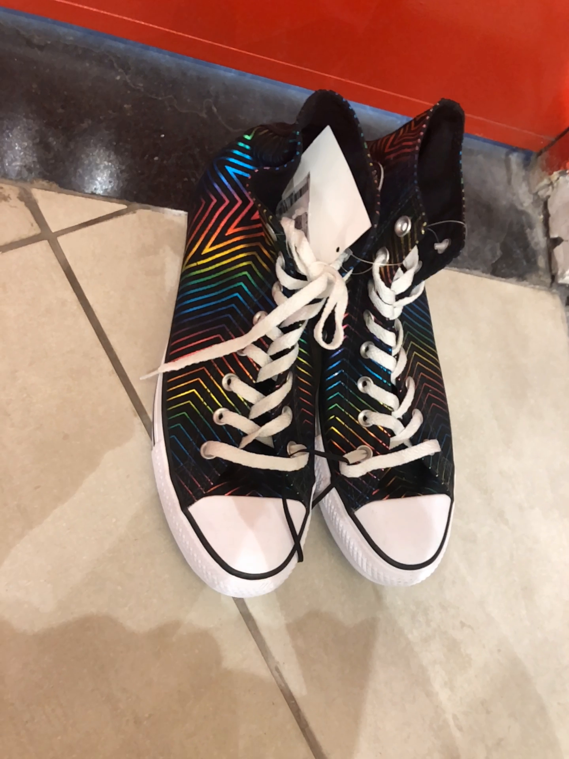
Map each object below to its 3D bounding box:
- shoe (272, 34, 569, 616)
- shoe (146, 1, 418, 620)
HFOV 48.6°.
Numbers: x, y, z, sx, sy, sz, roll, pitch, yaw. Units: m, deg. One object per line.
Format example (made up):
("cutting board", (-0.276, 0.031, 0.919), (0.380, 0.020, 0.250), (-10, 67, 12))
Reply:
("shoe", (0.074, -0.027, 0.401), (0.110, 0.140, 0.310), (1, 76, -18))
("shoe", (-0.015, -0.032, 0.379), (0.110, 0.140, 0.310), (4, 75, -18))
